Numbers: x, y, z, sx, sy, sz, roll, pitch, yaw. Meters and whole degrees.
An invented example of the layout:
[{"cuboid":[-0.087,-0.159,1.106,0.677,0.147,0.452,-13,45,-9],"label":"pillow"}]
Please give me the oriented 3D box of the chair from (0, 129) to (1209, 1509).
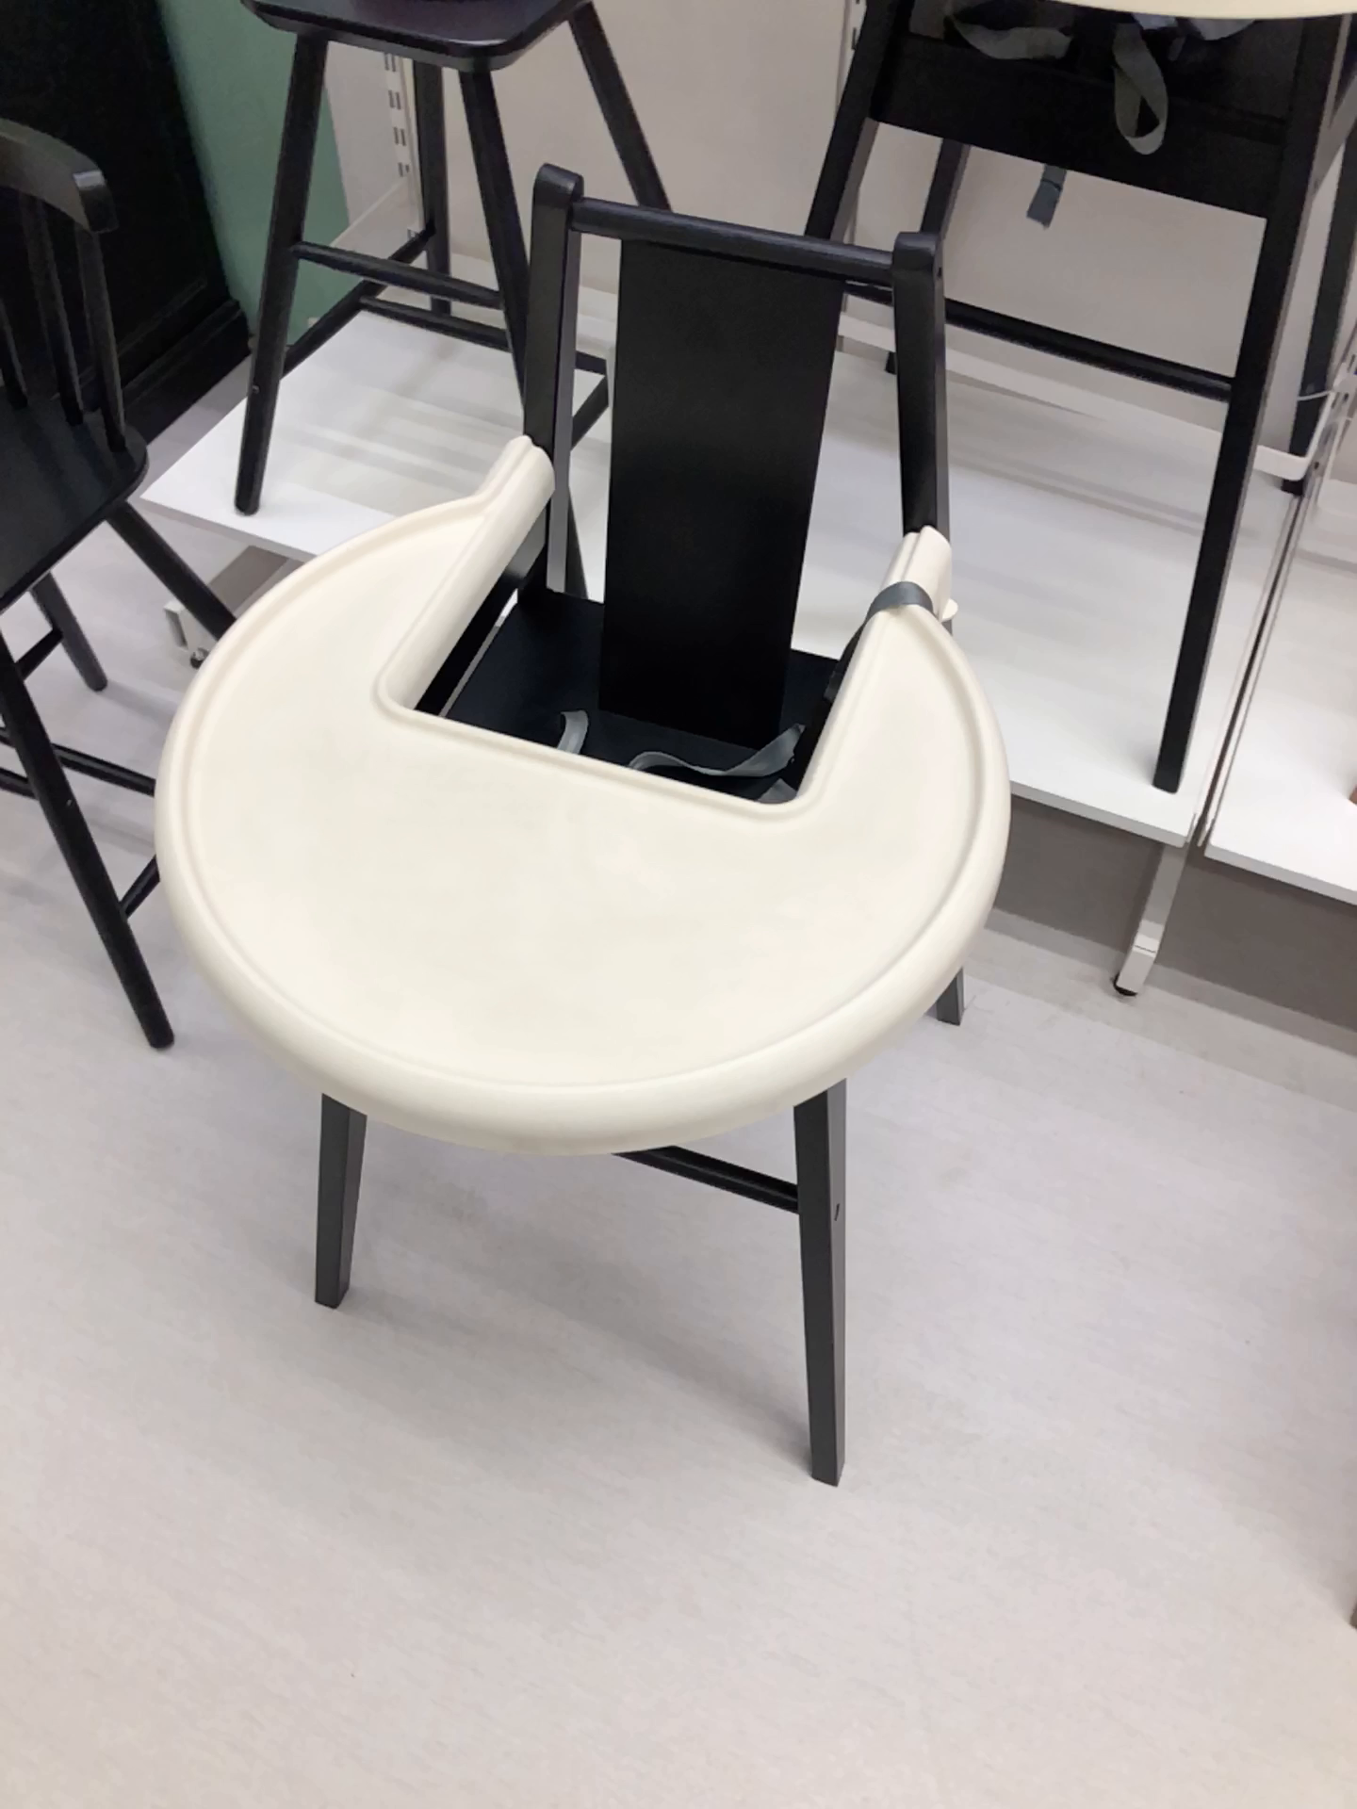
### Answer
[{"cuboid":[-0.027,-0.023,1.129,0.550,0.776,0.553,17,54,12],"label":"chair"}]
